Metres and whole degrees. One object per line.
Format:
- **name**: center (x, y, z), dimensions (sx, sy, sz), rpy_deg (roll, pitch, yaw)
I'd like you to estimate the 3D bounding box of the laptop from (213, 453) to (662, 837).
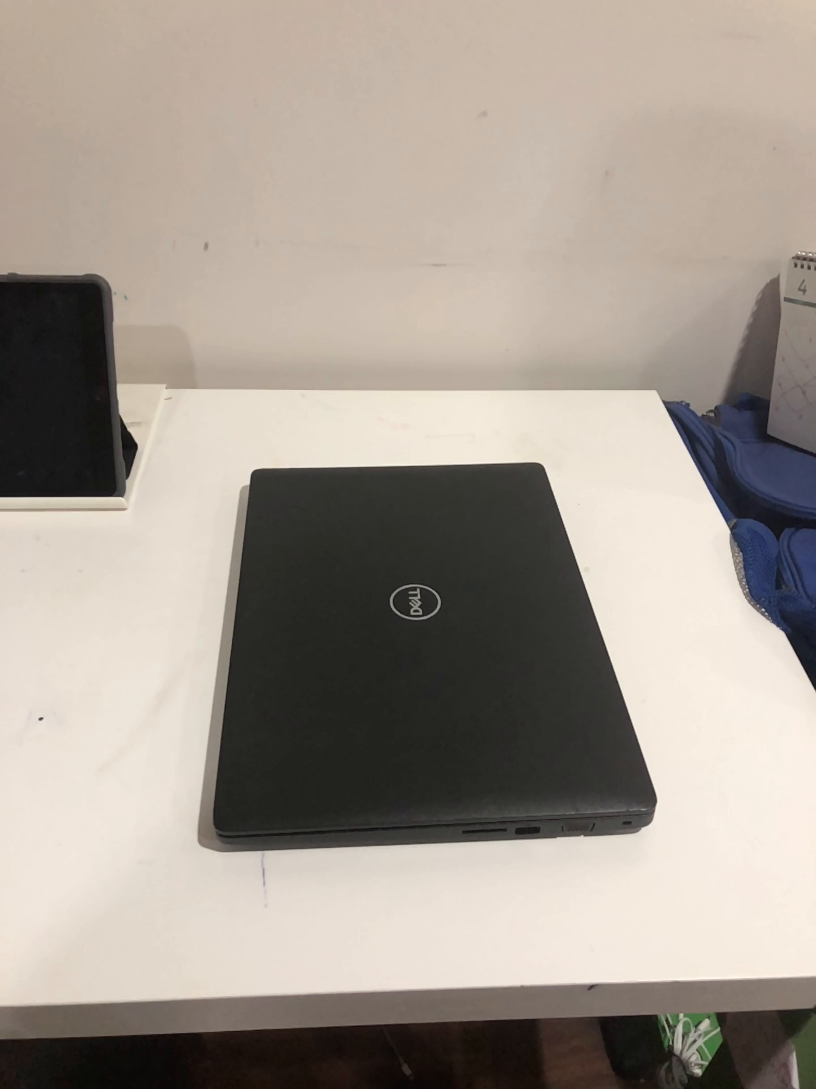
- **laptop**: center (0.005, 0.041, 0.611), dimensions (0.241, 0.010, 0.334), rpy_deg (-3, 40, -2)
